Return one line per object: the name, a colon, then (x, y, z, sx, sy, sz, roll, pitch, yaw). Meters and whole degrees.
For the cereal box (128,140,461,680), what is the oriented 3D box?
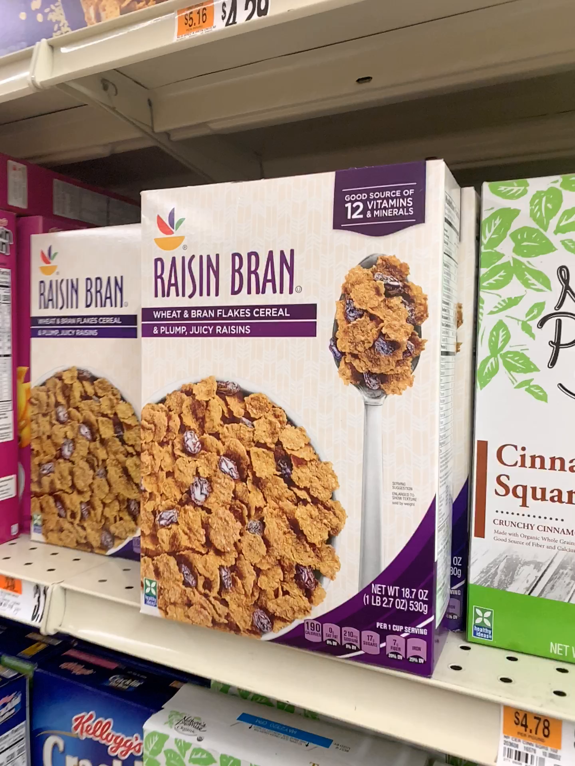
cereal box: (0.002, 0.012, 0.365, 0.190, 0.270, 0.070, 2, 3, 25)
